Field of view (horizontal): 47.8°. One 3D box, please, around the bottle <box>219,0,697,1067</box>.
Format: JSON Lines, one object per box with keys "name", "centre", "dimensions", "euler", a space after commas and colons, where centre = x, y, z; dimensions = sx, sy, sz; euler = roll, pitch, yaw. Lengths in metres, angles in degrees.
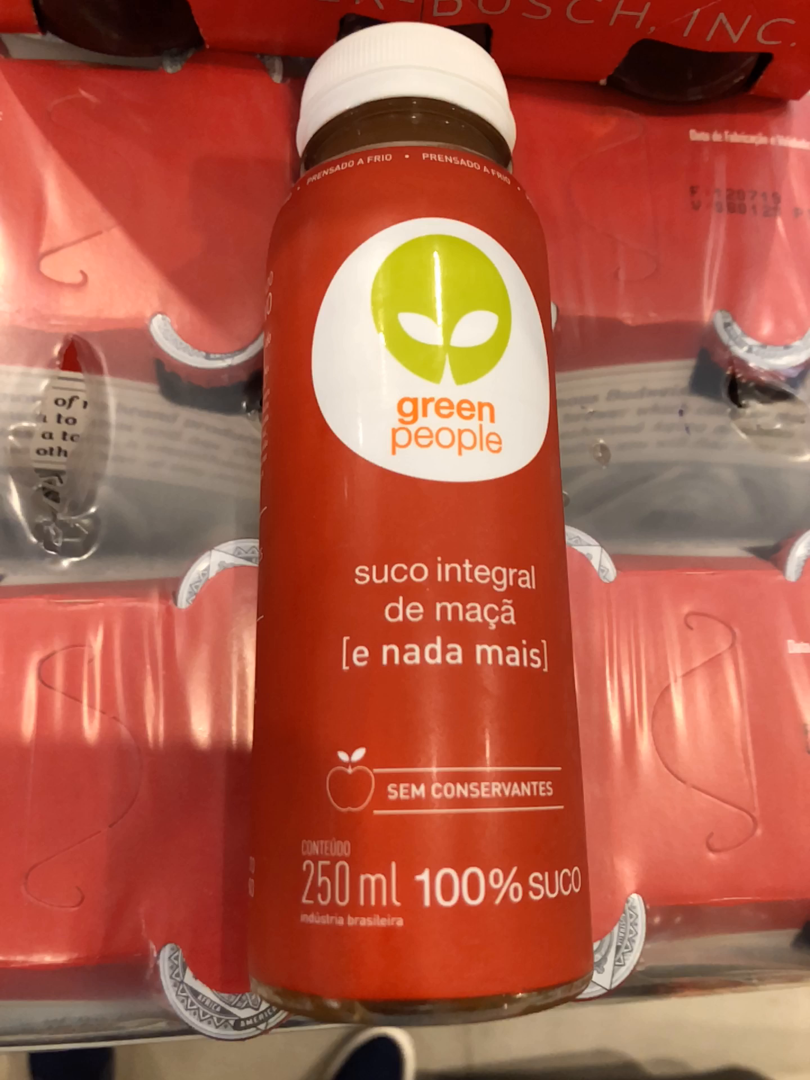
{"name": "bottle", "centre": [0.005, -0.019, 0.154], "dimensions": [0.060, 0.040, 0.180], "euler": [1, 76, -6]}
